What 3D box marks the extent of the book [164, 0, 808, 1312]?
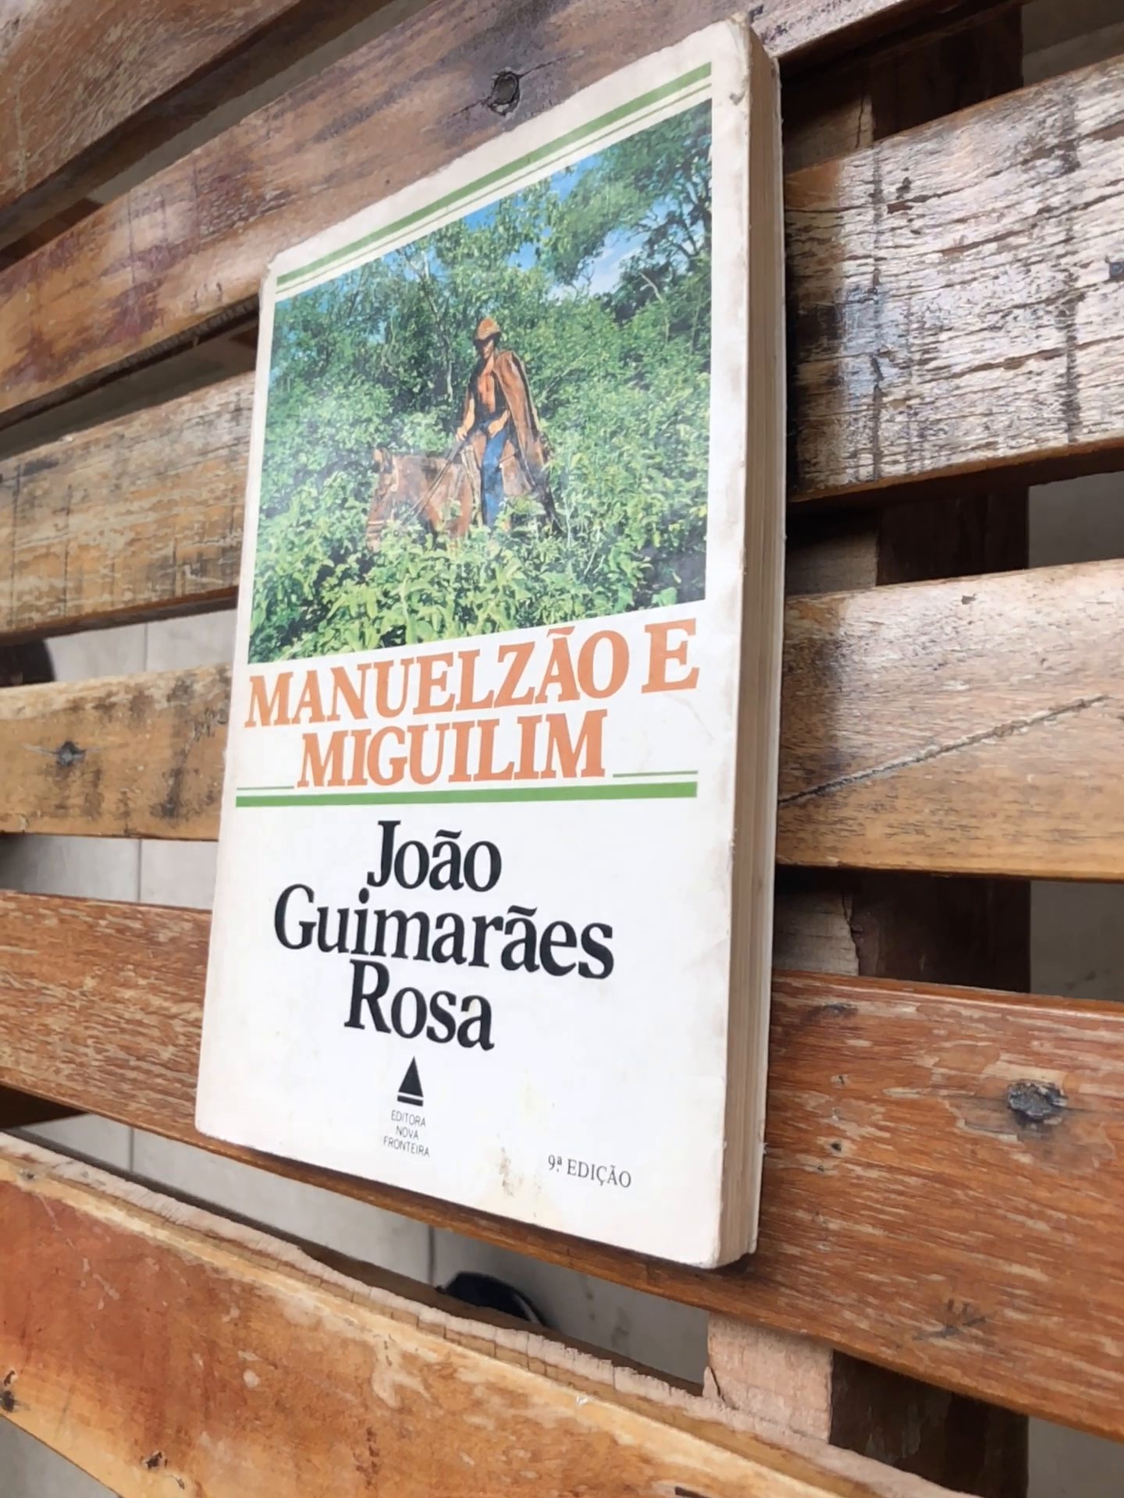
[{"bbox_3d":[-0.021,-0.015,0.241,0.142,0.020,0.200,-4,81,41],"label":"book"}]
